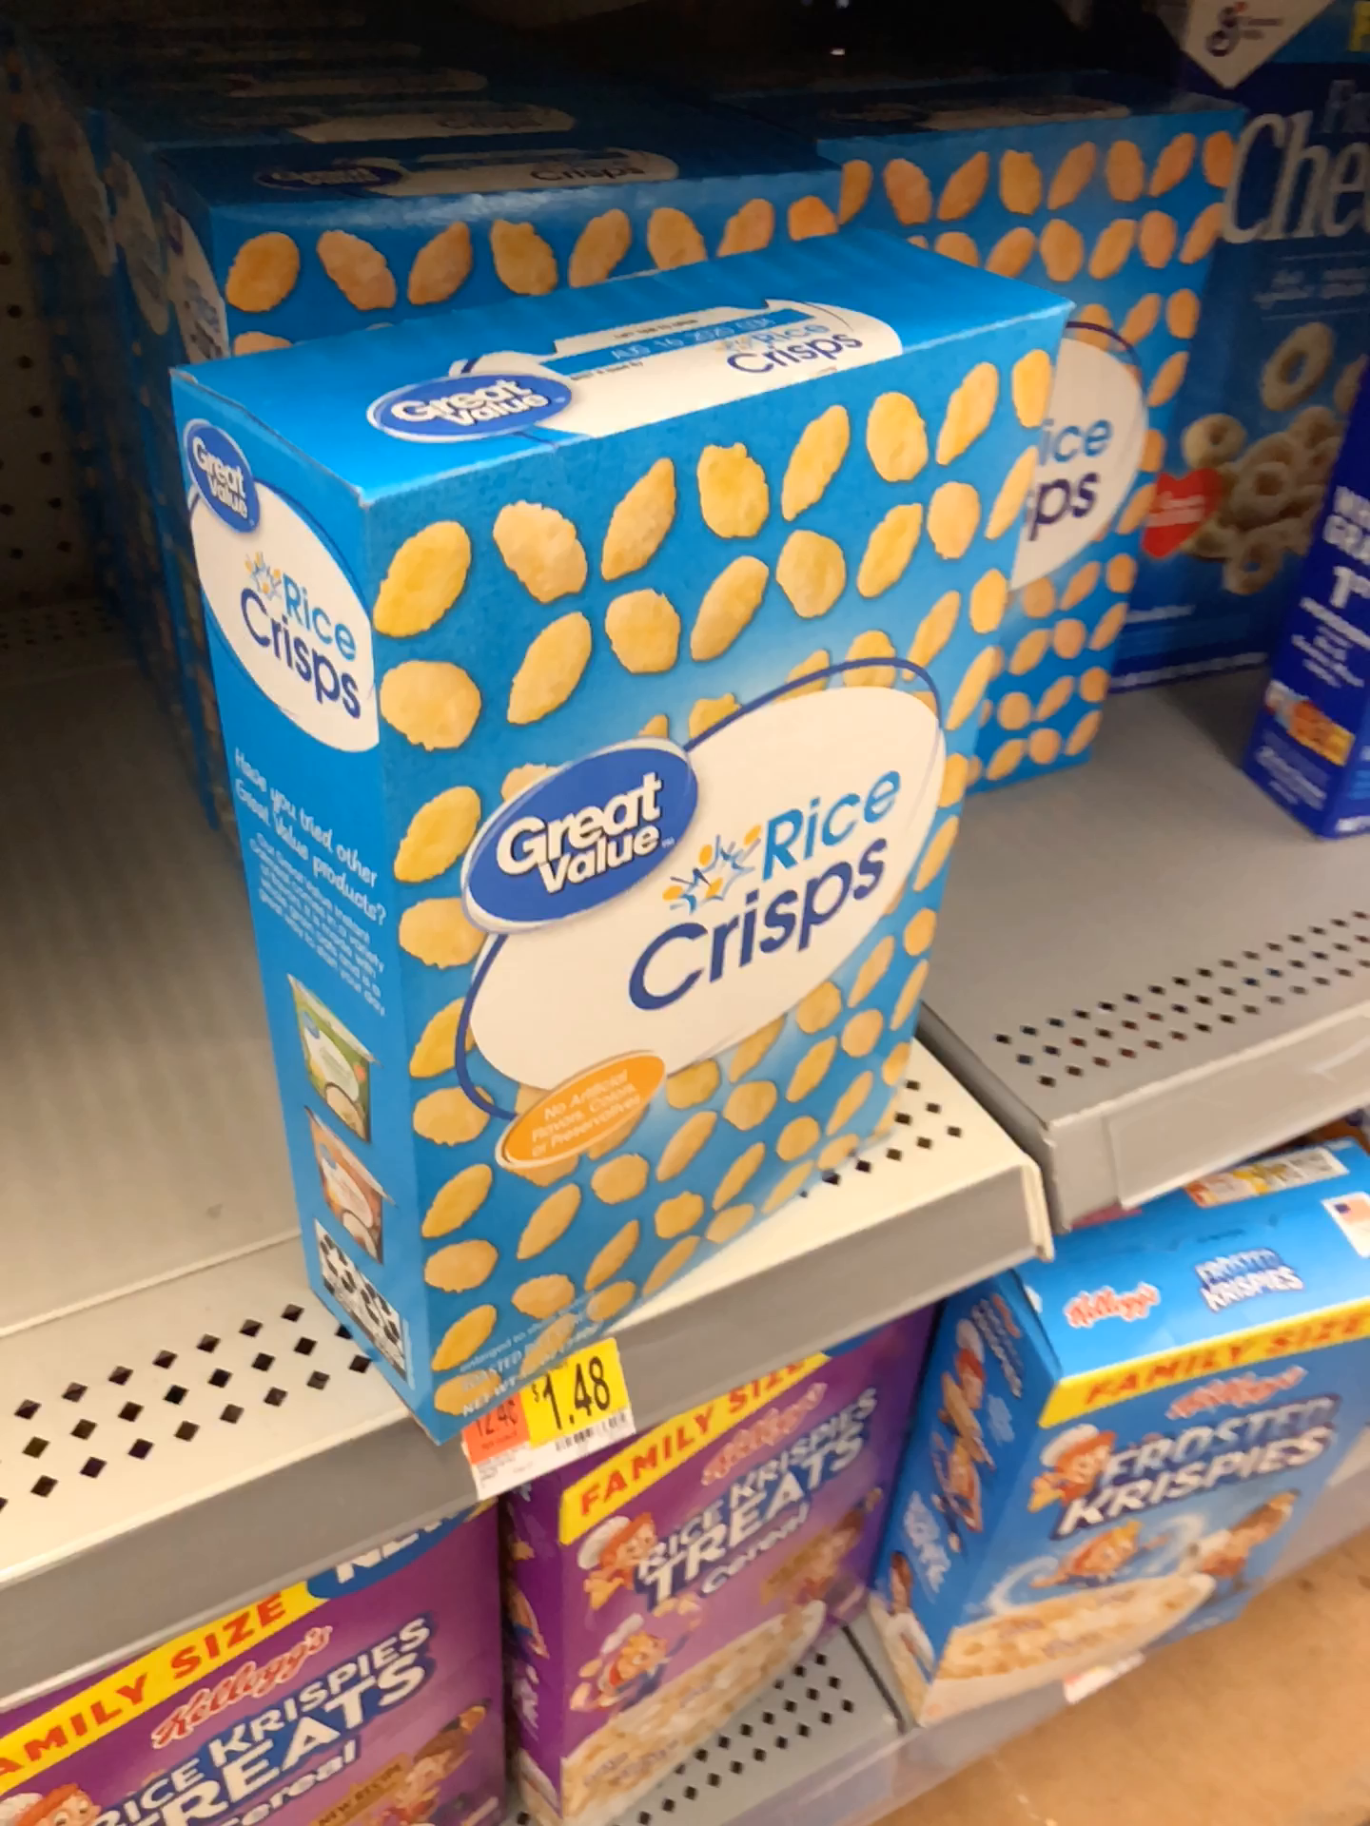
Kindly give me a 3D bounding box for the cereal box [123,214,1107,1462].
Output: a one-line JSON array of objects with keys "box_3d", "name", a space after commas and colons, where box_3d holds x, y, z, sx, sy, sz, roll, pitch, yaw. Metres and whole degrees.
[{"box_3d": [-0.011, -0.015, 0.392, 0.200, 0.269, 0.070, -28, 49, -33], "name": "cereal box"}]
